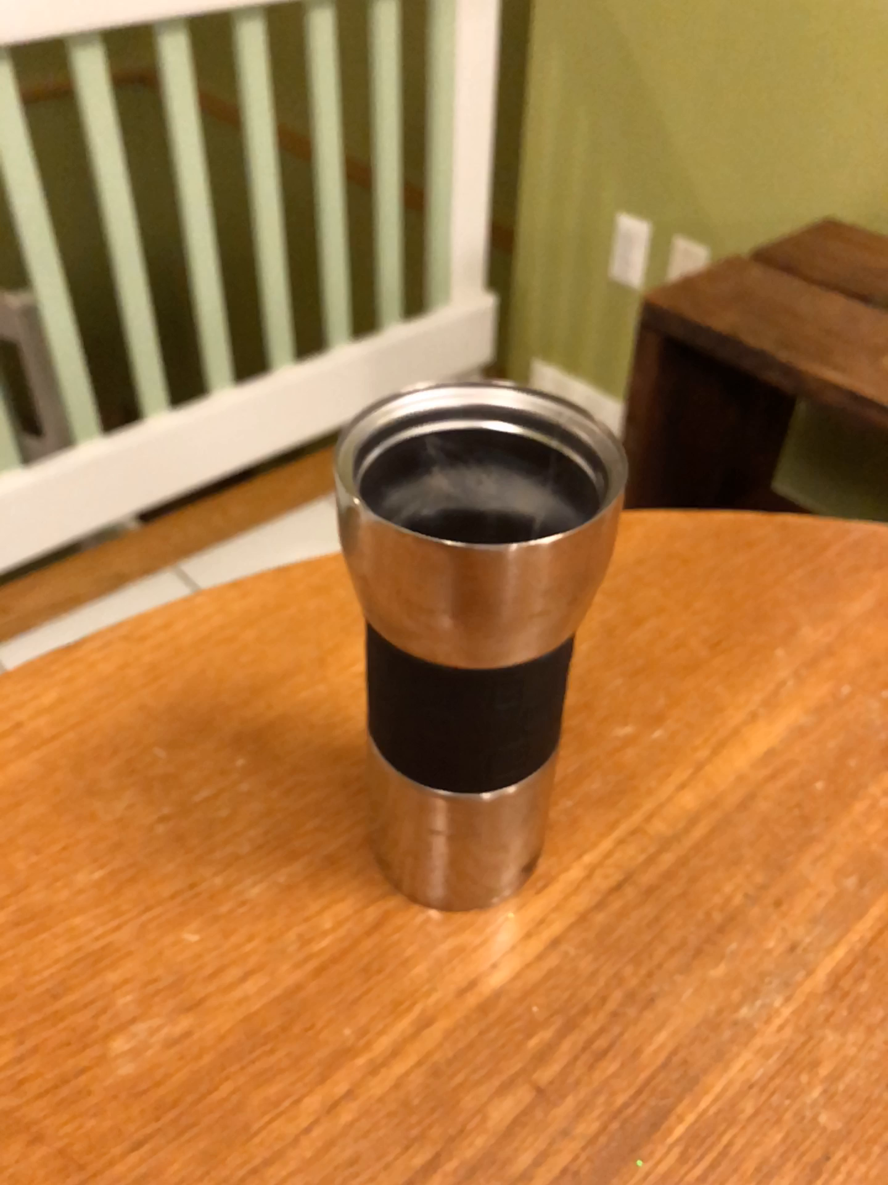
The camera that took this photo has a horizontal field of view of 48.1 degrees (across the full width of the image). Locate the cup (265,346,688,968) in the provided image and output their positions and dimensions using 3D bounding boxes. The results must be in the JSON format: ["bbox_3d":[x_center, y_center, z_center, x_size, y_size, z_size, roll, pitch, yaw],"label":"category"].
[{"bbox_3d":[0.009,0.025,0.334,0.083,0.173,0.088,1,41,-1],"label":"cup"}]
